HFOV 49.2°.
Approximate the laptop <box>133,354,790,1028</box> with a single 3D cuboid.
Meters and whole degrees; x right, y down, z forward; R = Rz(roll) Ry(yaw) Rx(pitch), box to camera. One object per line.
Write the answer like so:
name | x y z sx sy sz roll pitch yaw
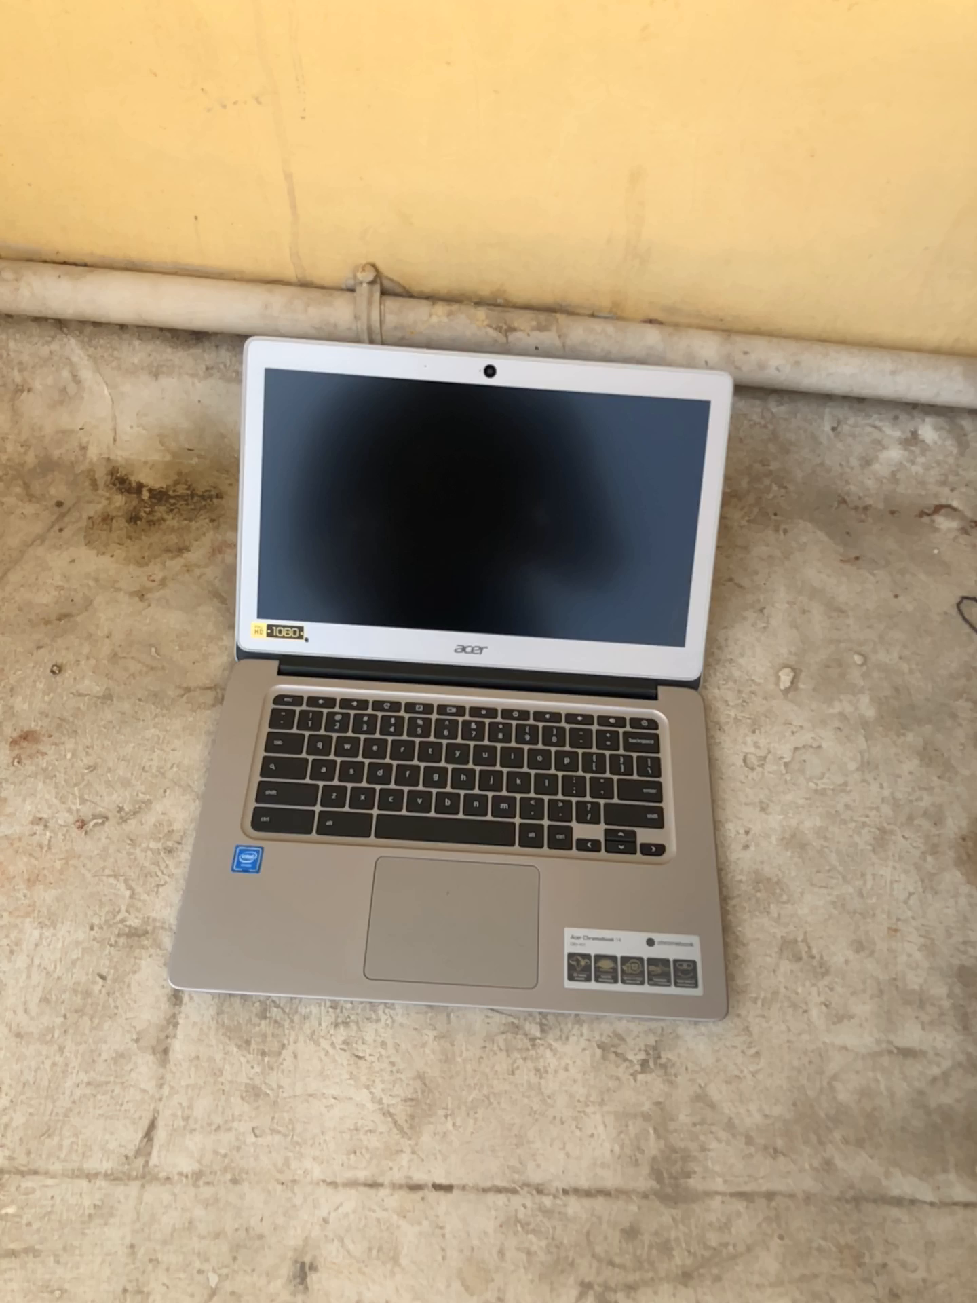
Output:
laptop | -0.007 0.012 0.669 0.315 0.136 0.380 4 58 -1
